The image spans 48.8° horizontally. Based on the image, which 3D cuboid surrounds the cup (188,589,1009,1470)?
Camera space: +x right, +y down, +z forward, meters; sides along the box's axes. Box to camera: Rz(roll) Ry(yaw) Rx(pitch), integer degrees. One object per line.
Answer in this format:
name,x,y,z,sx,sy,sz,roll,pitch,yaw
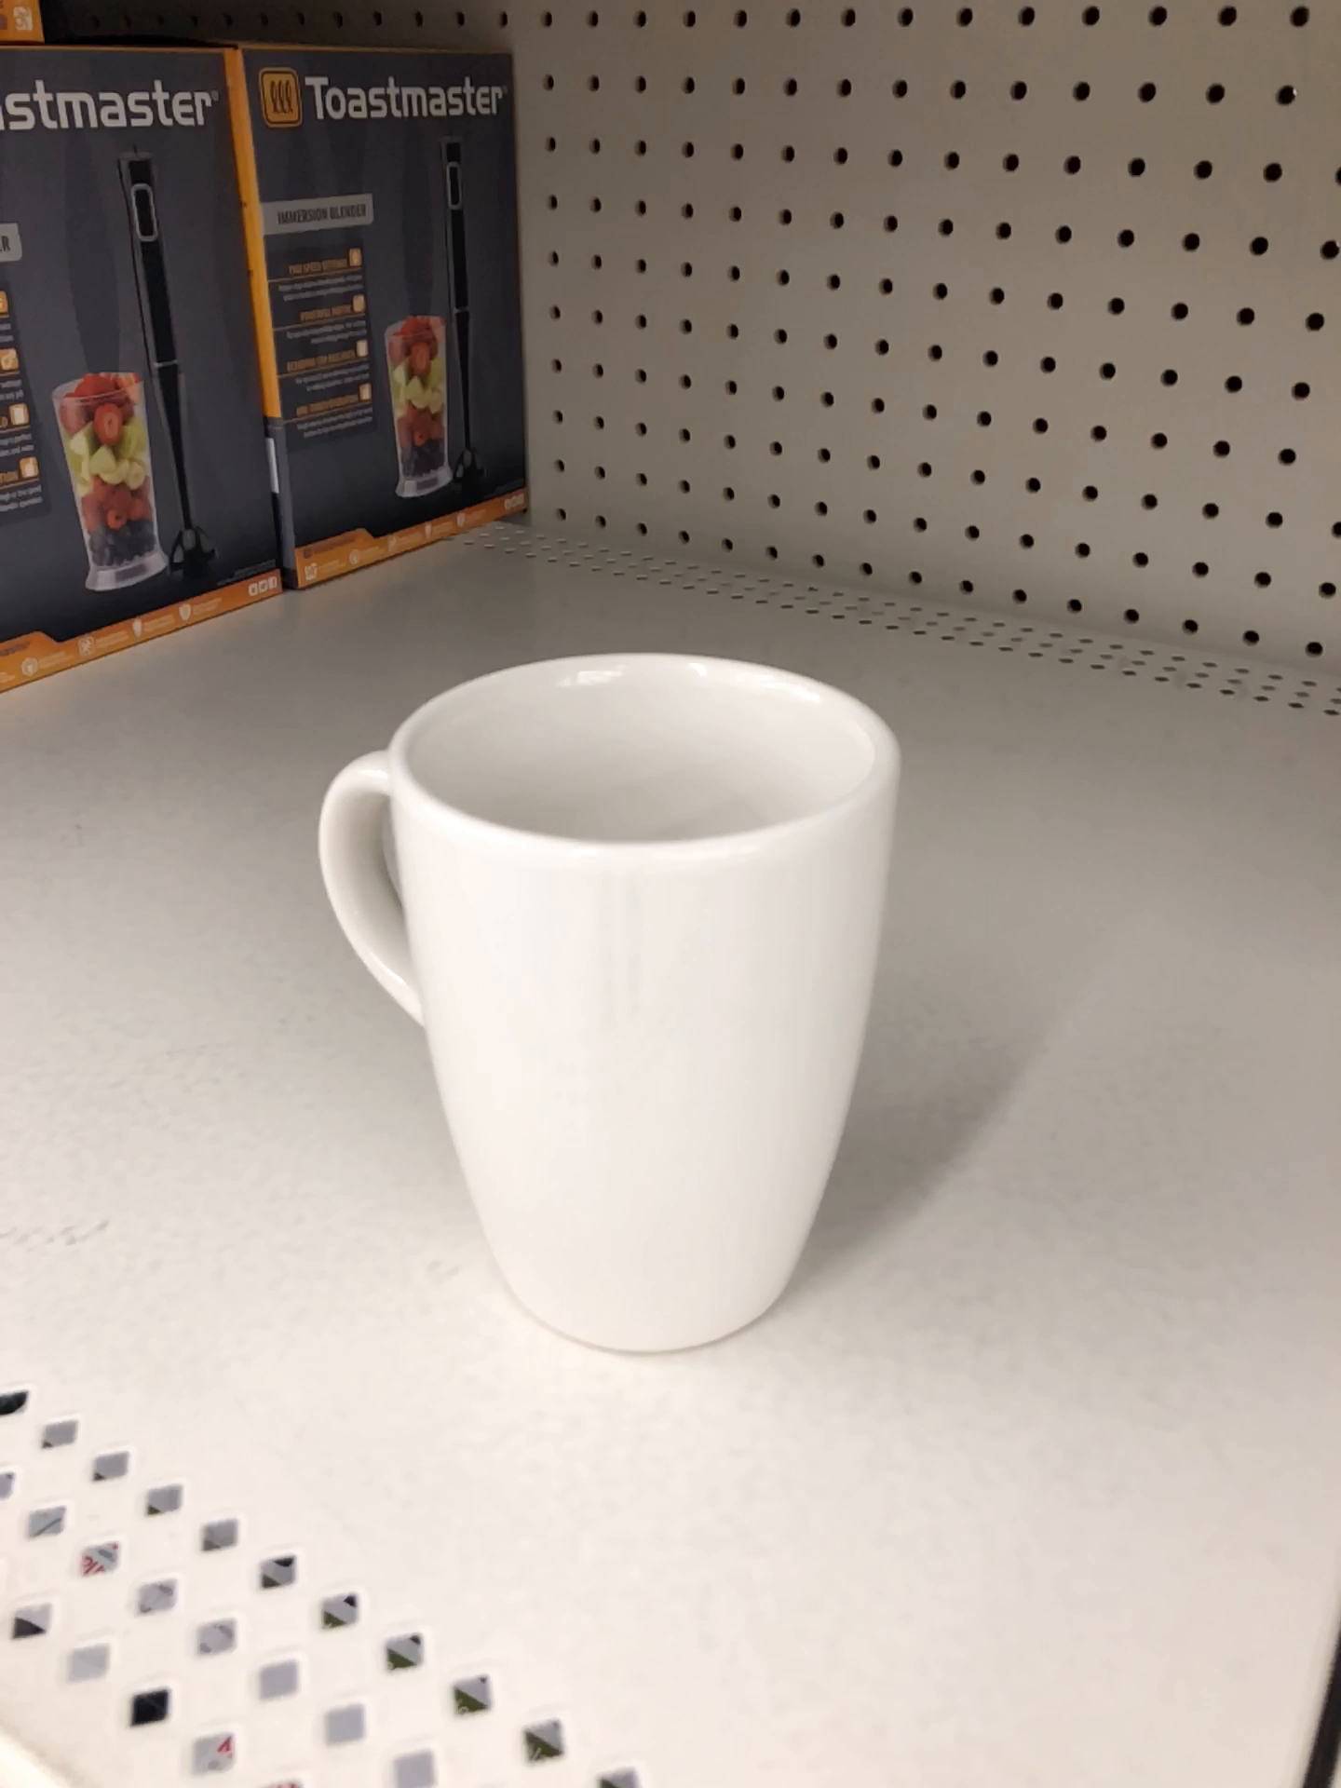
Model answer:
cup,-0.016,0.015,0.286,0.126,0.105,0.081,25,37,37
